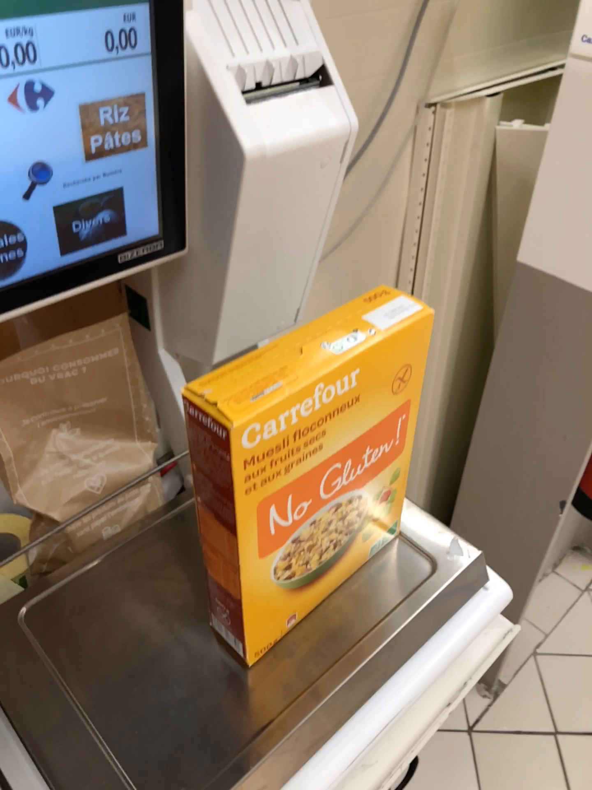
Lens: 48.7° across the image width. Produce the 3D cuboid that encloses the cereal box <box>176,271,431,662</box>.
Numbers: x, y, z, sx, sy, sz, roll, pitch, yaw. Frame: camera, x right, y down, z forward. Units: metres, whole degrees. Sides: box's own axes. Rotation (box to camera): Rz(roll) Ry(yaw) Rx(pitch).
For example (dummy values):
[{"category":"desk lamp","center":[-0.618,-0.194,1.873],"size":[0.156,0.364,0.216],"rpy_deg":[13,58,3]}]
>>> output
[{"category":"cereal box","center":[0.010,0.059,0.511],"size":[0.050,0.258,0.191],"rpy_deg":[32,47,33]}]
